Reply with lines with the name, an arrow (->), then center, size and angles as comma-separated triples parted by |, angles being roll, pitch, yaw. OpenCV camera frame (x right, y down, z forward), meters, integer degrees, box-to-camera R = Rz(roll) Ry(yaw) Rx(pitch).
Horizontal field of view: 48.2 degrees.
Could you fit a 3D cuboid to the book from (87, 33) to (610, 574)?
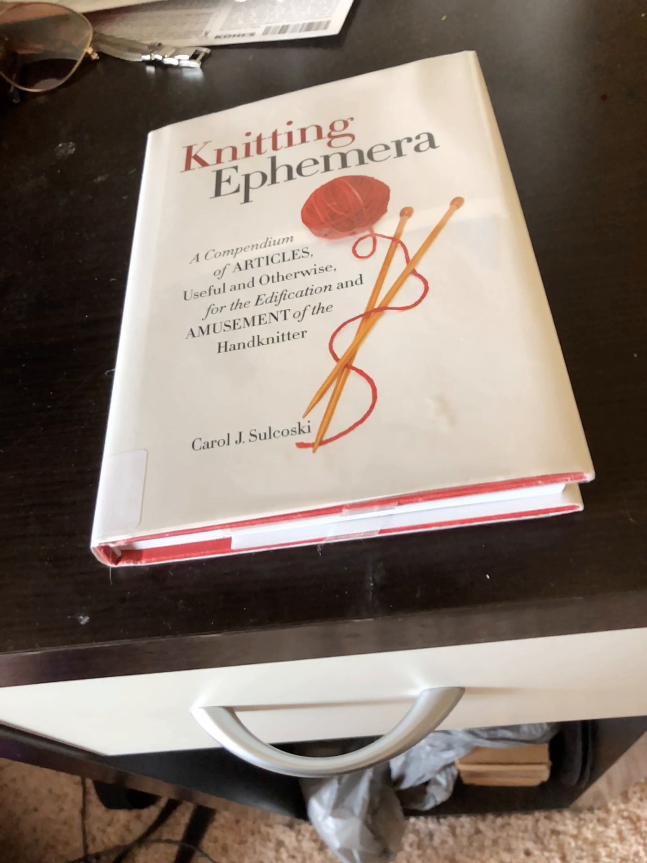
book -> 0.001, -0.051, 0.238 | 0.132, 0.029, 0.178 | -9, 58, 10
